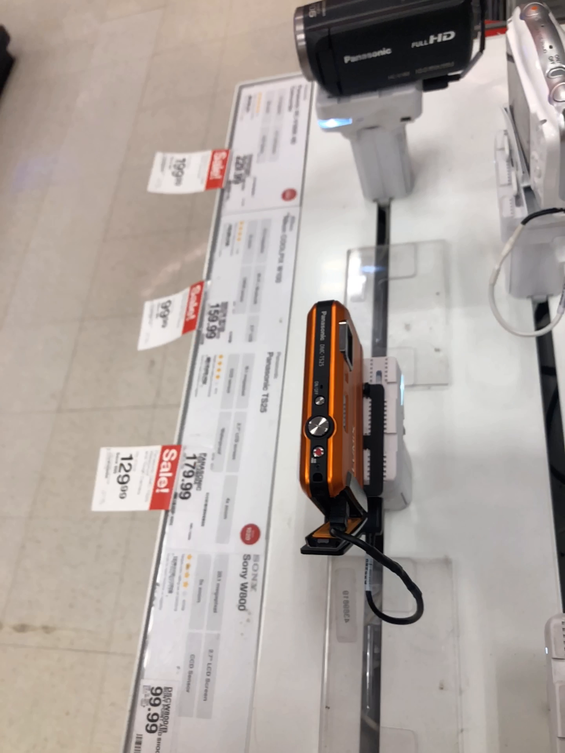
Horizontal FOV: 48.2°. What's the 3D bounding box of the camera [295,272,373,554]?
[{"bbox_3d":[0.028,0.018,0.303,0.020,0.060,0.120,-4,62,17],"label":"camera"}]
